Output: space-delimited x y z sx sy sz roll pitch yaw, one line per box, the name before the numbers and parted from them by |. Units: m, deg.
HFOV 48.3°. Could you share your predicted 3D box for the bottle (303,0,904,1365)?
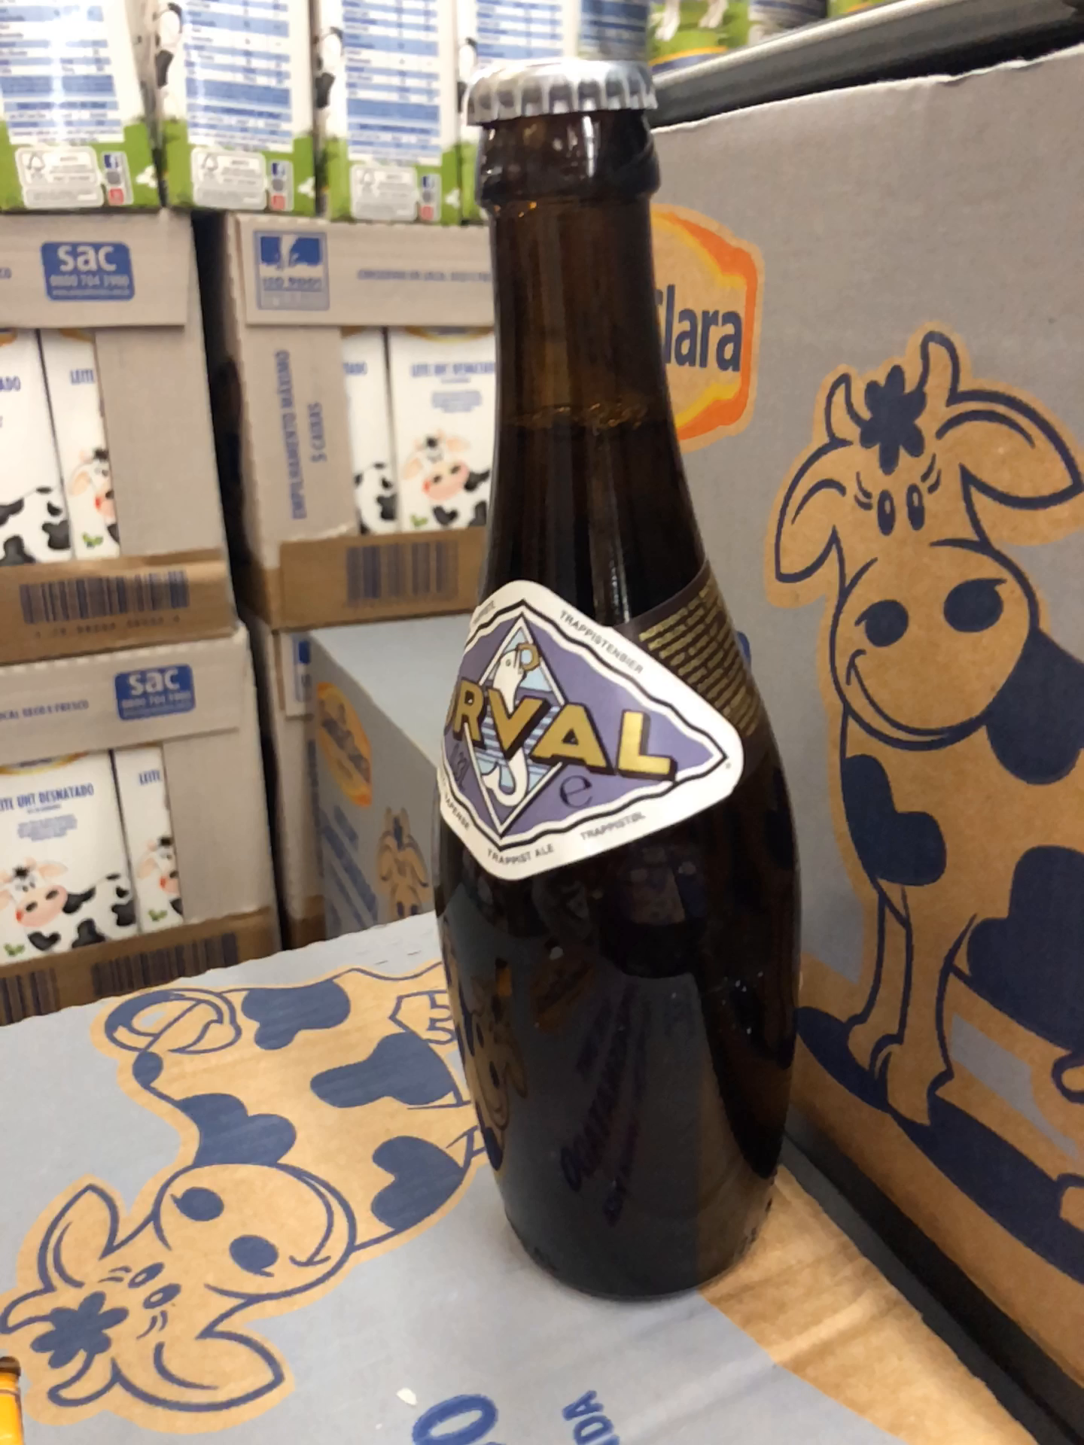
bottle | 0.012 -0.003 0.218 0.070 0.209 0.060 12 23 34
